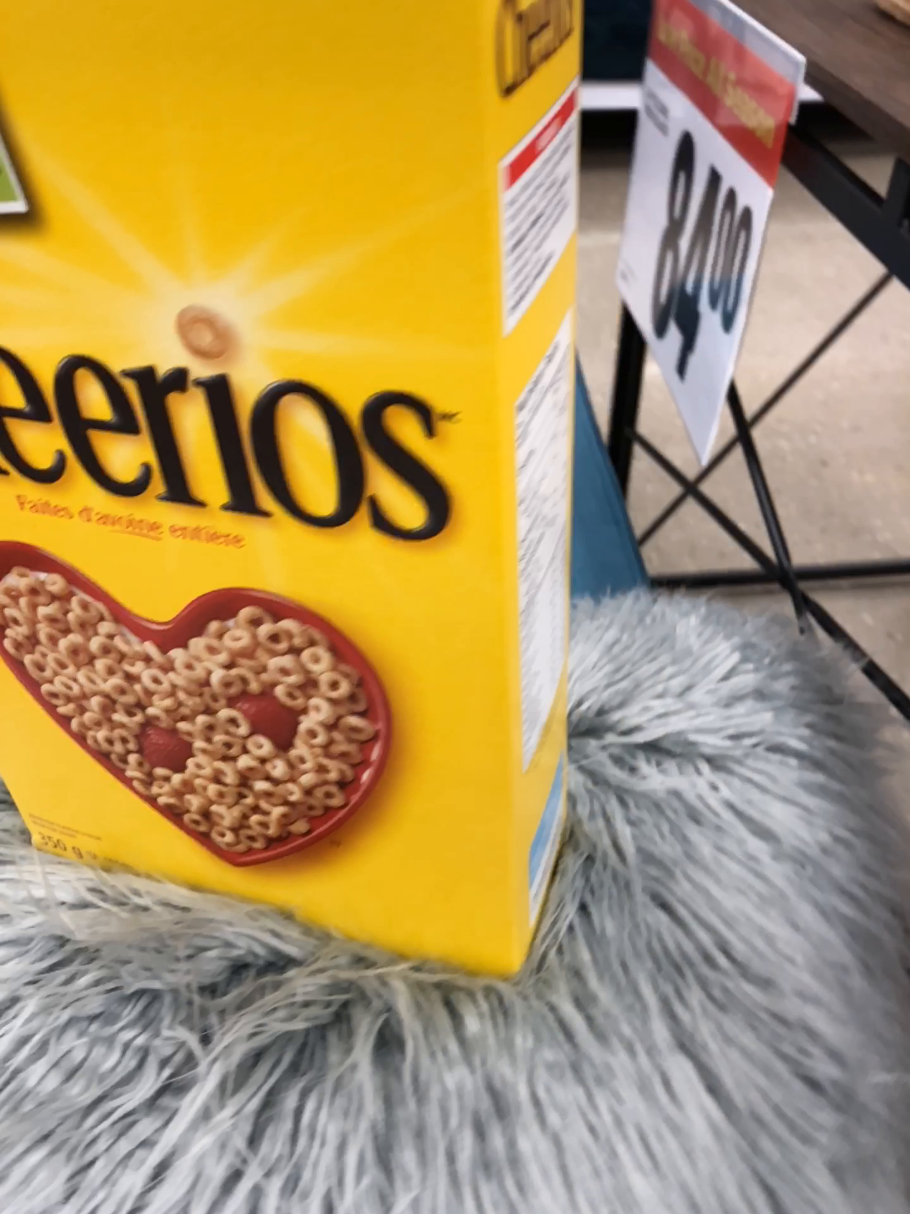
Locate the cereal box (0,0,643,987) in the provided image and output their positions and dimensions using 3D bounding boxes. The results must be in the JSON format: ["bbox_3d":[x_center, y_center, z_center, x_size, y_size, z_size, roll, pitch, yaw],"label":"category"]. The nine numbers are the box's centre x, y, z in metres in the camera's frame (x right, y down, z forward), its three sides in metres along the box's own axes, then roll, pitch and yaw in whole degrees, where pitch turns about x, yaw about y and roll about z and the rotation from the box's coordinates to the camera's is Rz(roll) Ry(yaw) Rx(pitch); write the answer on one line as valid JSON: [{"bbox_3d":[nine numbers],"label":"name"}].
[{"bbox_3d":[-0.074,-0.030,0.291,0.210,0.289,0.080,10,41,13],"label":"cereal box"}]
